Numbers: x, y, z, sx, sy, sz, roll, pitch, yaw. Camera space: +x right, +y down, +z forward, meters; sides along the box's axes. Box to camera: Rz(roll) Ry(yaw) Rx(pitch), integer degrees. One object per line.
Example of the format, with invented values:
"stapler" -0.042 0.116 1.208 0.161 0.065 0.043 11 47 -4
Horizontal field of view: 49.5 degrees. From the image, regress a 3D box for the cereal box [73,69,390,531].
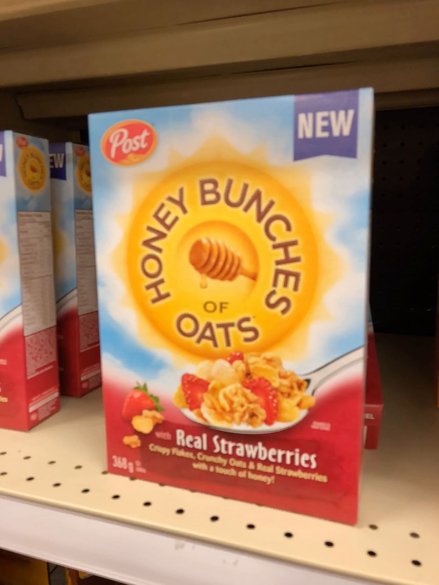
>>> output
"cereal box" 0.005 0.005 0.332 0.200 0.269 0.050 3 10 21
